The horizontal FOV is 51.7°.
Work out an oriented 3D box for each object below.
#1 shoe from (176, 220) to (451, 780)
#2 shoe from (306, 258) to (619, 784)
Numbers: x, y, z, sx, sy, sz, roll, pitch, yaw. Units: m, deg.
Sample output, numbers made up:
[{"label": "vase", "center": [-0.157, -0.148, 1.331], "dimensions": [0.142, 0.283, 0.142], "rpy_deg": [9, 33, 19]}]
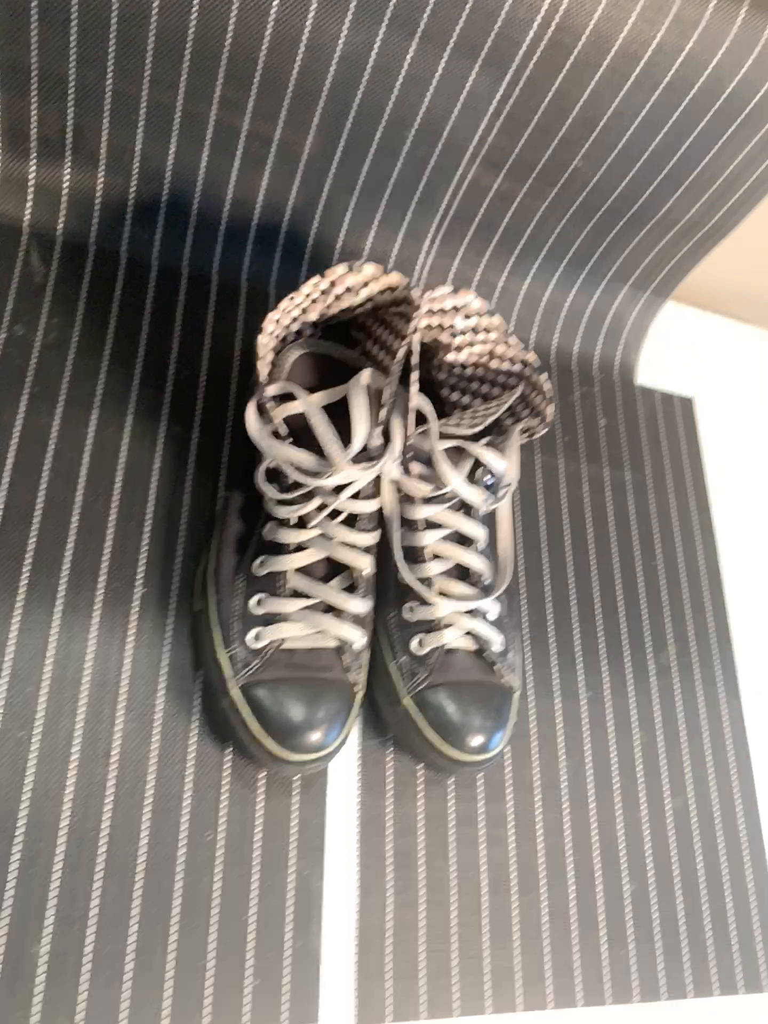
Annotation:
[{"label": "shoe", "center": [-0.046, 0.001, 0.465], "dimensions": [0.110, 0.130, 0.290], "rpy_deg": [7, 67, -20]}, {"label": "shoe", "center": [0.033, 0.009, 0.498], "dimensions": [0.110, 0.130, 0.290], "rpy_deg": [2, 69, -22]}]
